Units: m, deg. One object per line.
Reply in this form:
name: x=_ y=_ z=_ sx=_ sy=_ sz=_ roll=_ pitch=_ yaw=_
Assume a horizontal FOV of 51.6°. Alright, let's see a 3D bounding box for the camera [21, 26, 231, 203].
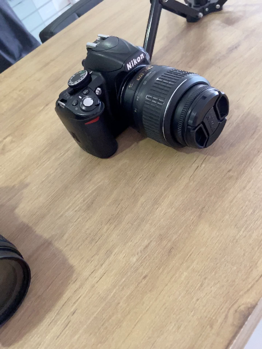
camera: x=-0.008 y=-0.082 z=0.304 sx=0.130 sy=0.089 sz=0.181 roll=-45 pitch=49 yaw=-16
